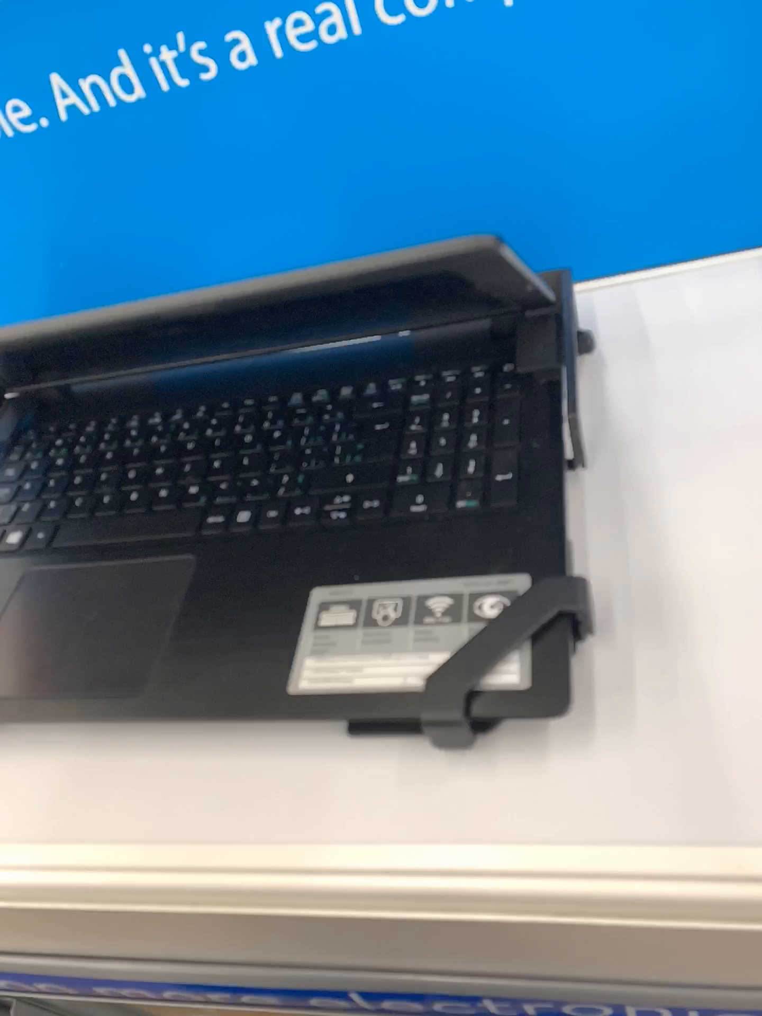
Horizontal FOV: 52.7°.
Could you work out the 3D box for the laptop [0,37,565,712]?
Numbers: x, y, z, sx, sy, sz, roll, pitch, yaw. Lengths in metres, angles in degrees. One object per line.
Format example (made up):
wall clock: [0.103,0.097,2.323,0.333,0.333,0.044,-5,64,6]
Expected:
laptop: [-0.113,-0.046,0.351,0.364,0.137,0.222,-5,50,17]
